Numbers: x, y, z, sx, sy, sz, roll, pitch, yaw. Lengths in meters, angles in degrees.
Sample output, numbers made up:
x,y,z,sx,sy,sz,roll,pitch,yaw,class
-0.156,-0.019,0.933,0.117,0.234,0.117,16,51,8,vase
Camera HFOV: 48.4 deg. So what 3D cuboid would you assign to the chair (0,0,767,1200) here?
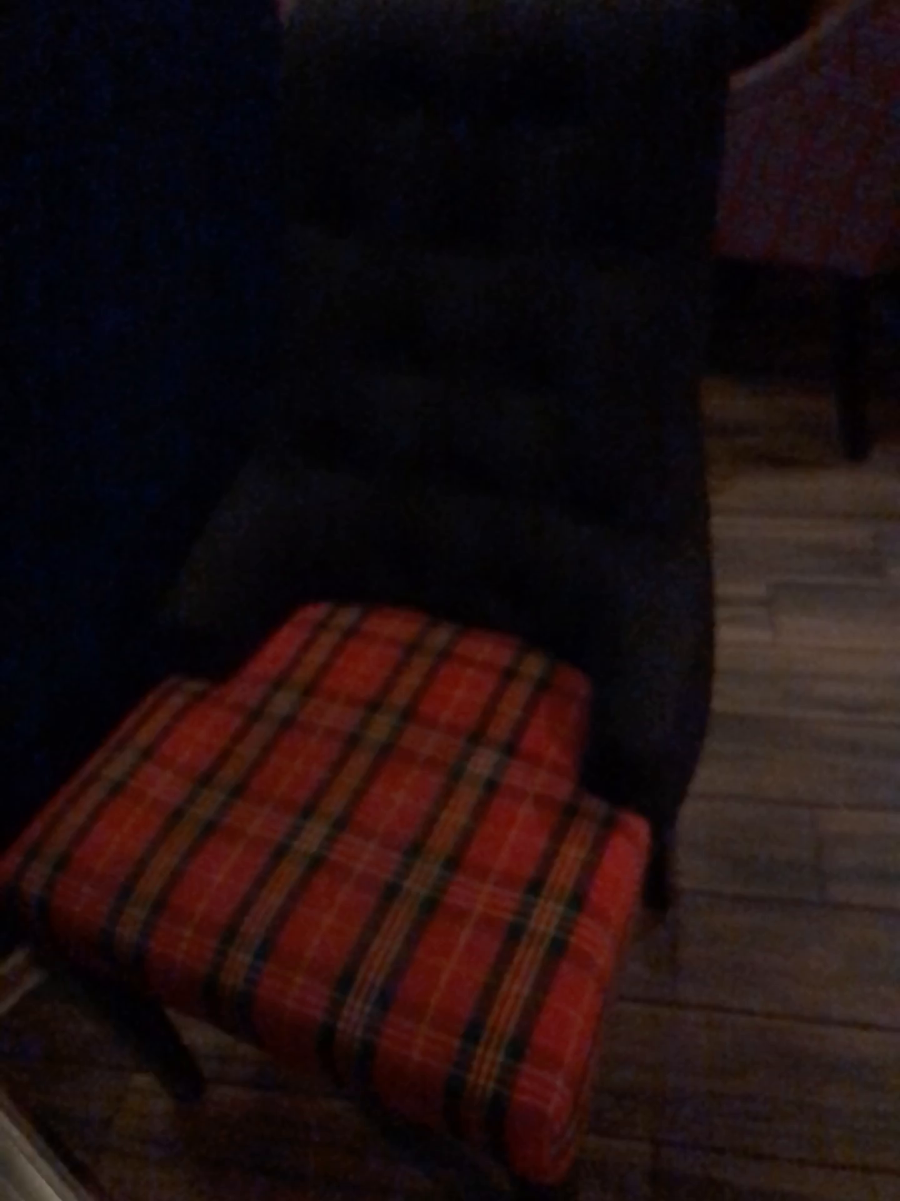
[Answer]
x,y,z,sx,sy,sz,roll,pitch,yaw,class
-0.087,0.079,0.907,0.521,1.003,0.614,12,44,23,chair
